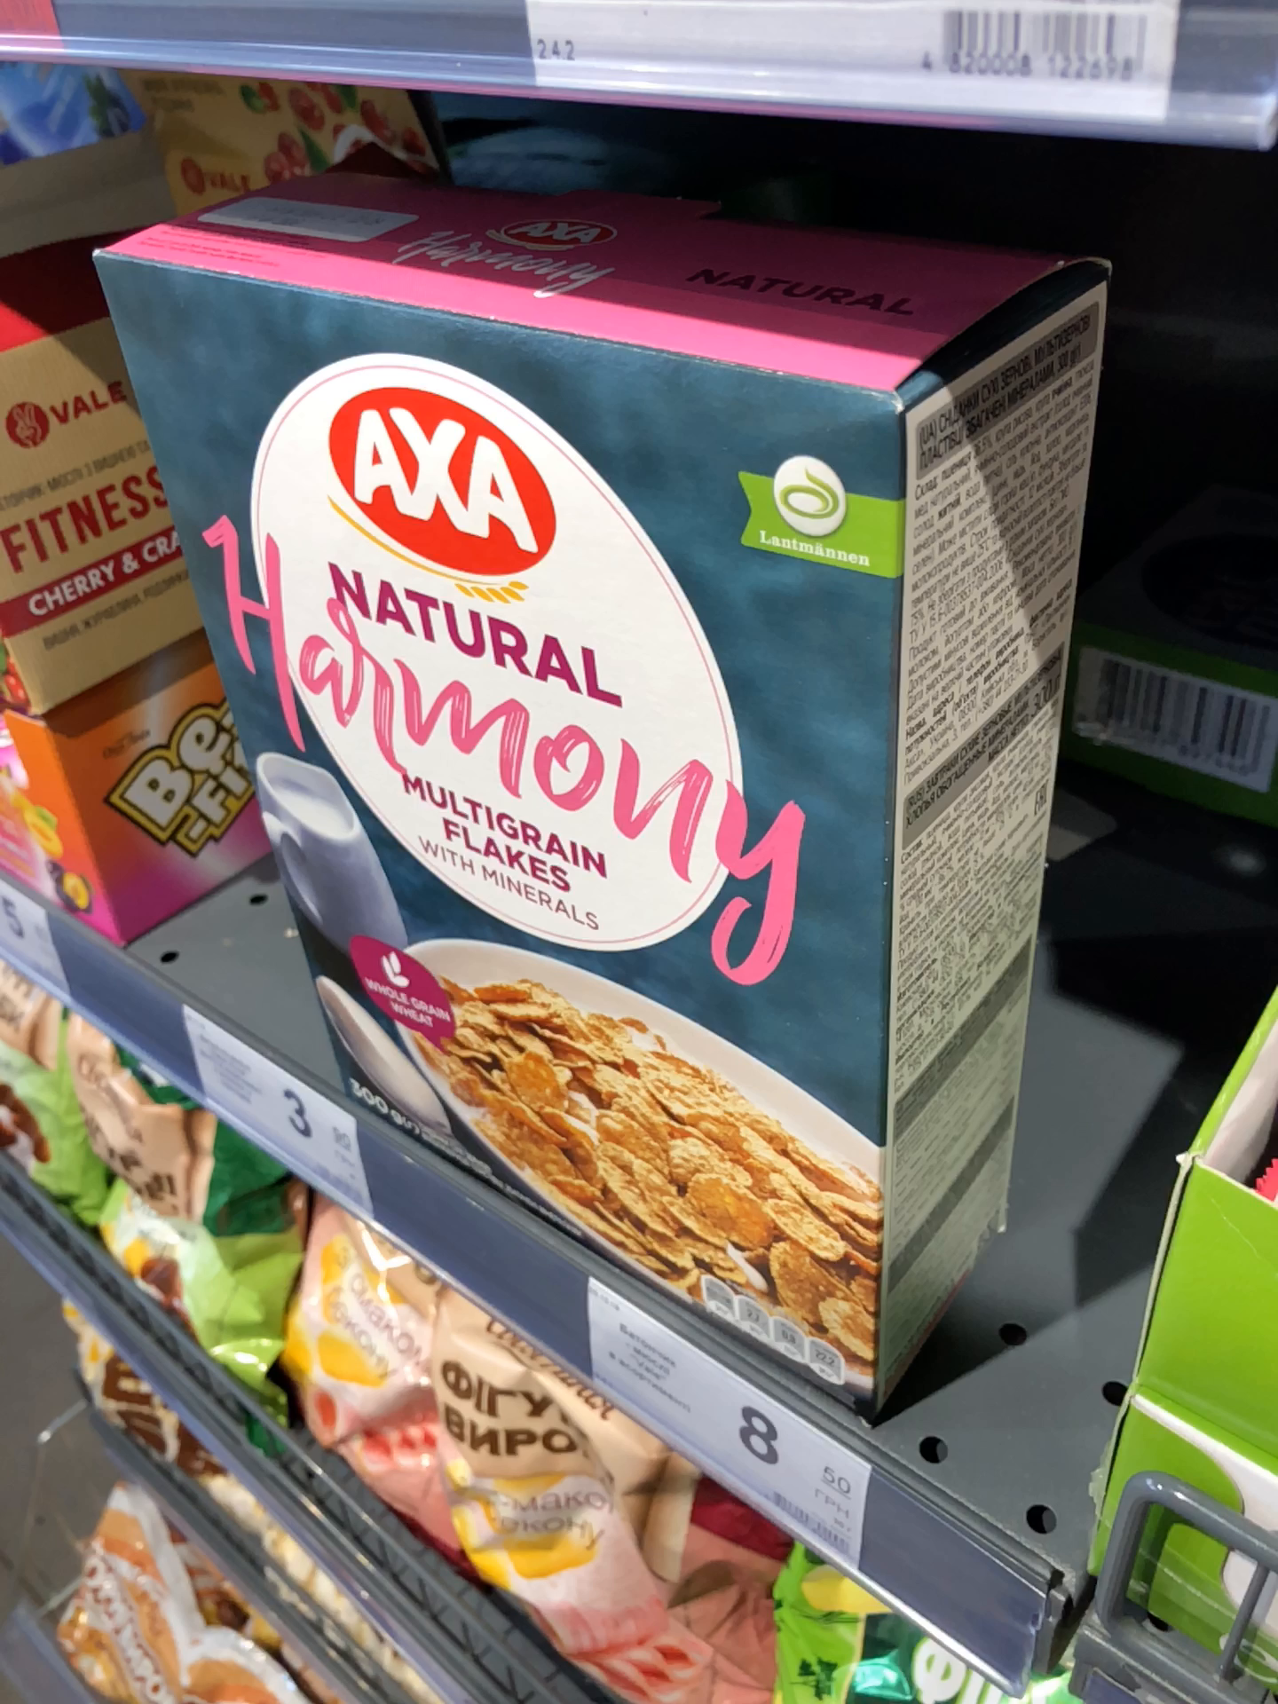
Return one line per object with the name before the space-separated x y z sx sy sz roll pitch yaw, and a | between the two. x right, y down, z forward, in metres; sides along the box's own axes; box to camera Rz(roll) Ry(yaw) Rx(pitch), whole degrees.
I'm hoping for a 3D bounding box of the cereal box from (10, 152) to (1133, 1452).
cereal box | -0.012 -0.012 0.295 0.180 0.218 0.070 23 46 33
